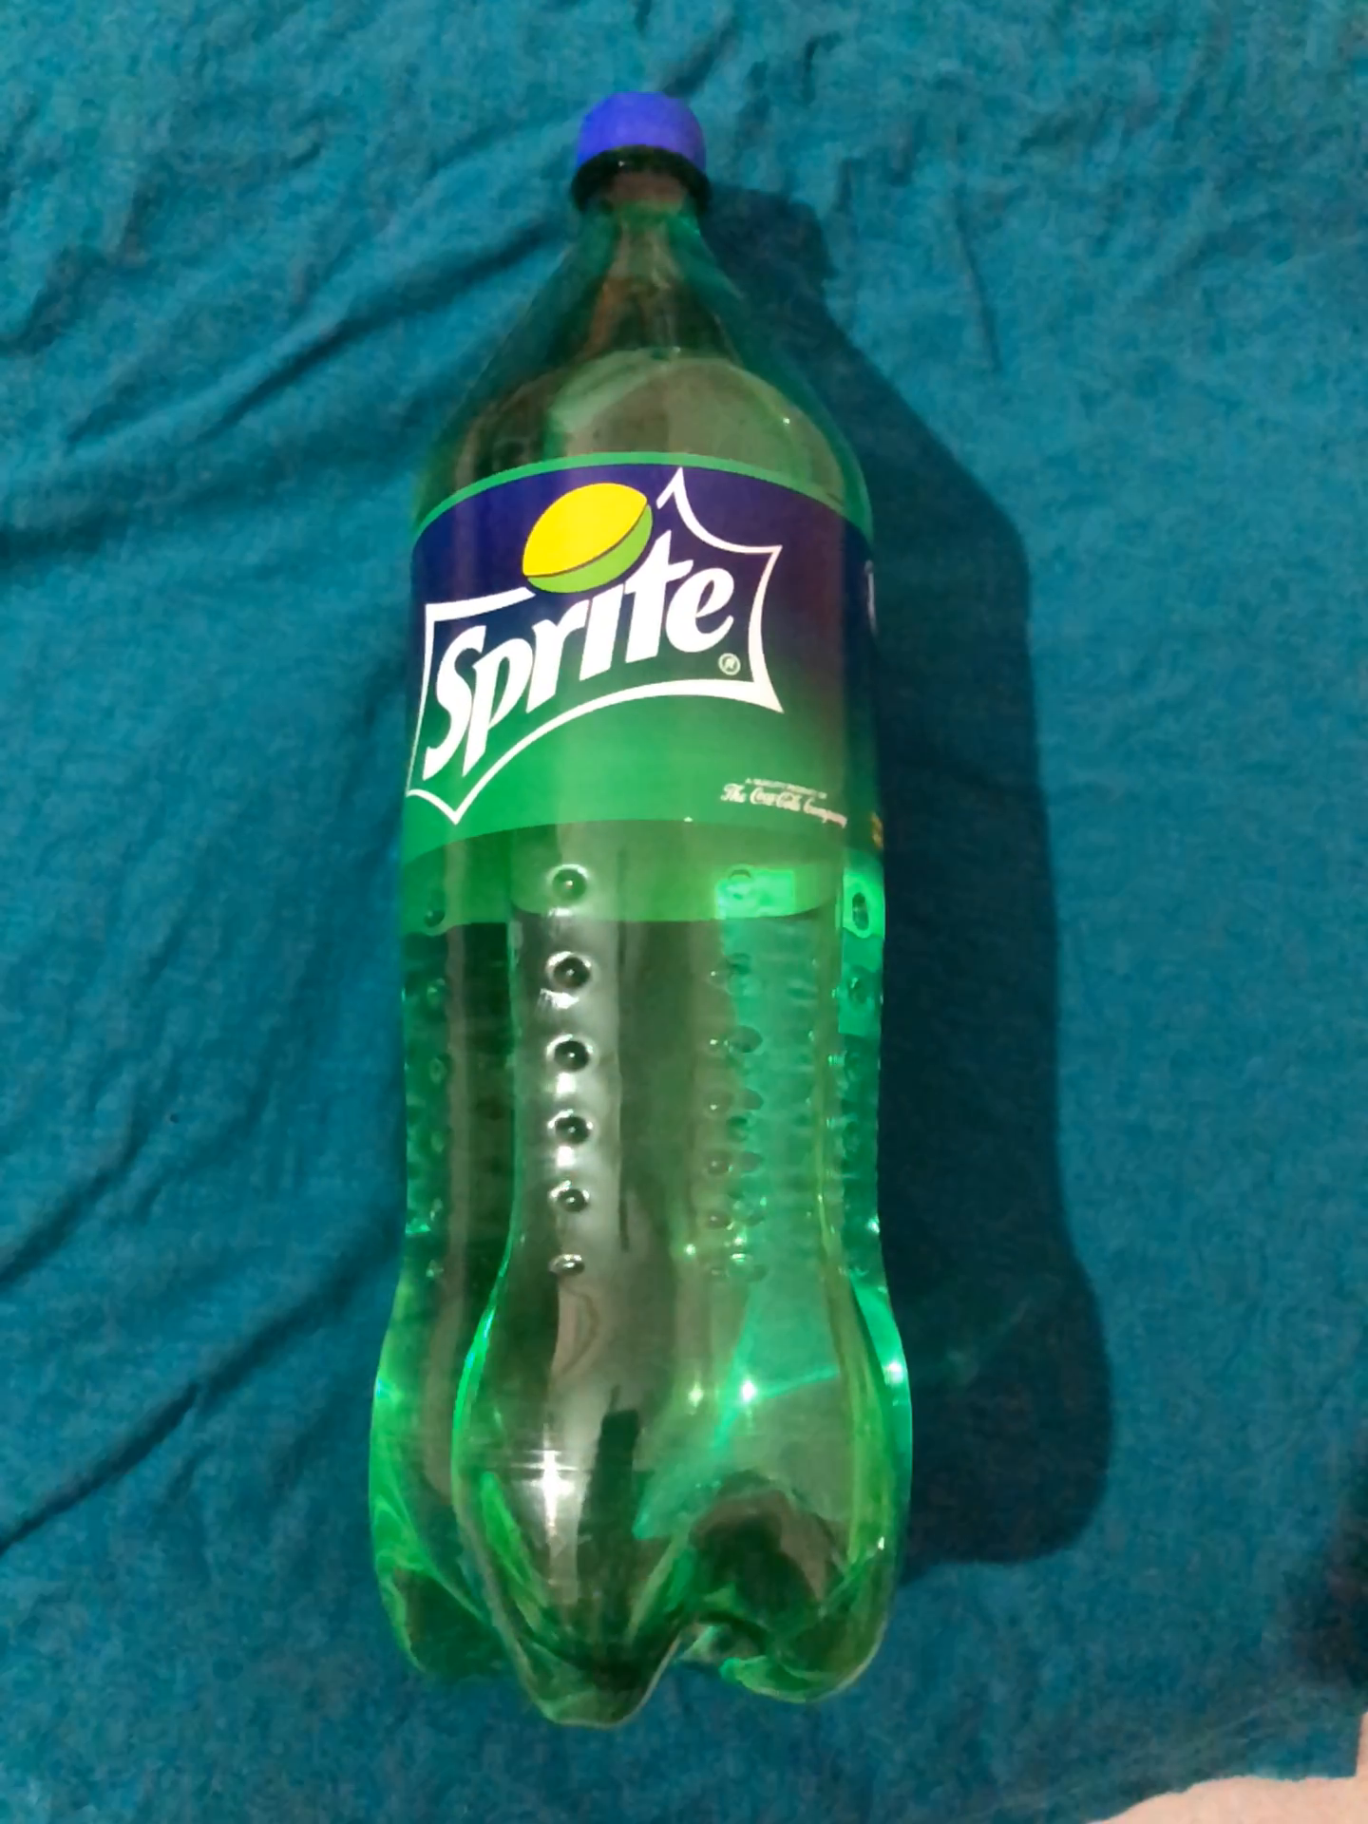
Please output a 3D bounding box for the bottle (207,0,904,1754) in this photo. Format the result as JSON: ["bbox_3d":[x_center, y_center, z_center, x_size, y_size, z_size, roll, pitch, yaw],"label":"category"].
[{"bbox_3d":[-0.019,-0.026,0.300,0.110,0.070,0.330,-1,80,4],"label":"bottle"}]
